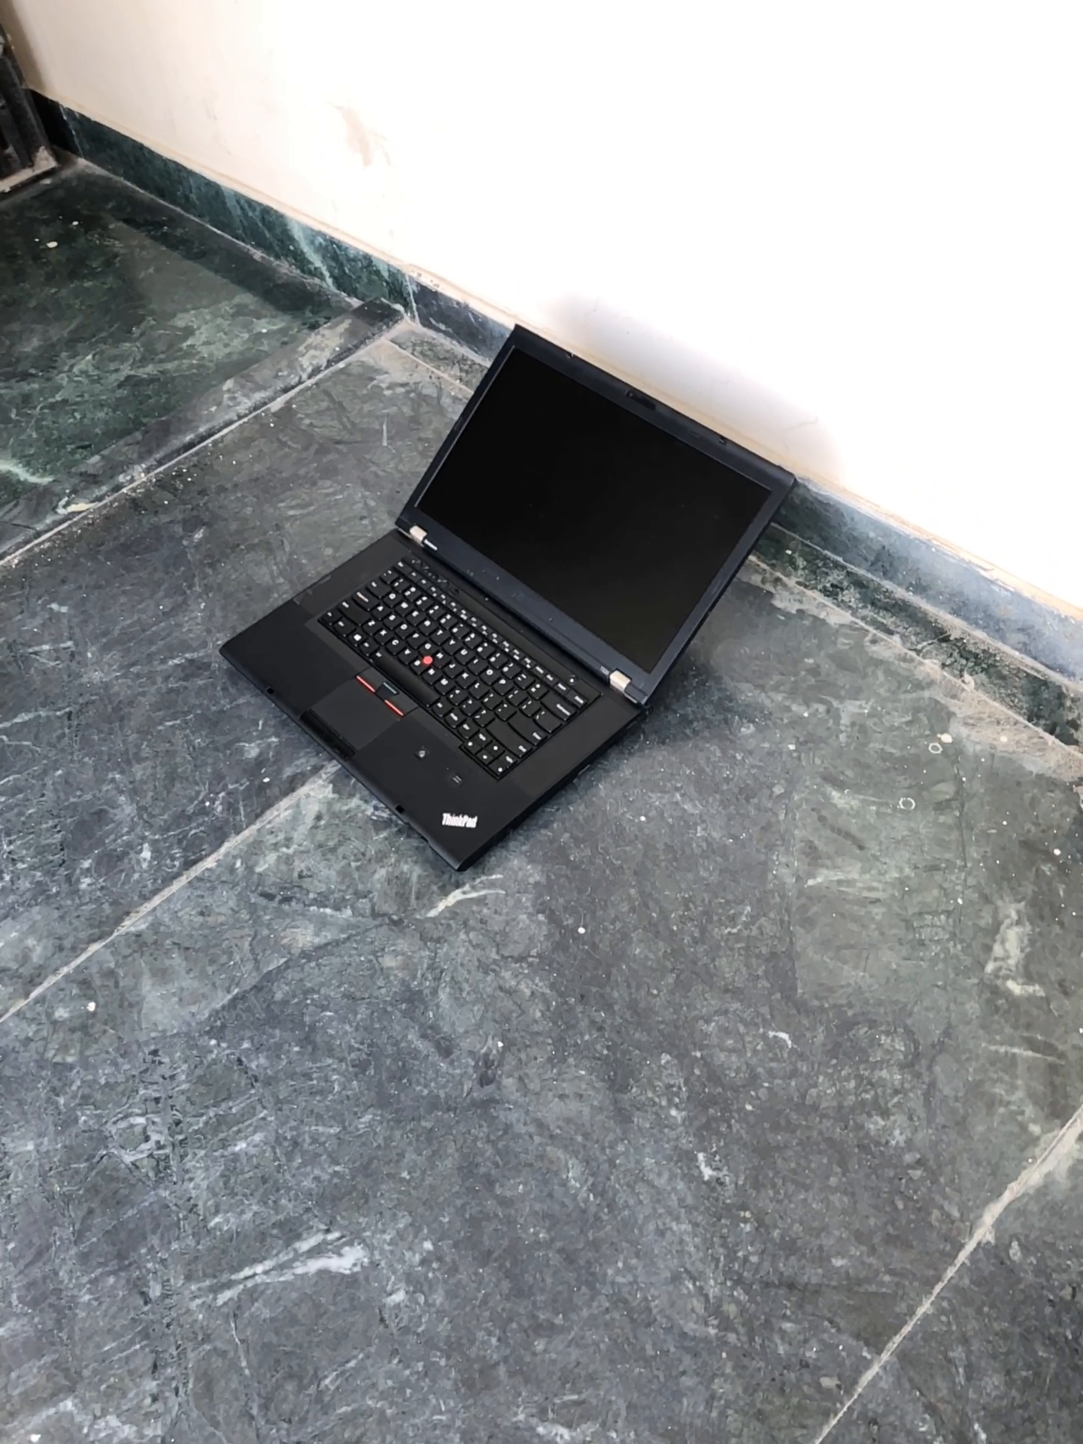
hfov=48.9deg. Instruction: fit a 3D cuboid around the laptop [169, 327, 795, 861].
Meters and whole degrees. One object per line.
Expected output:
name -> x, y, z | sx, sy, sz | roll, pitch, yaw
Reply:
laptop -> -0.043, -0.127, 0.967 | 0.376, 0.115, 0.311 | -39, 57, -22
